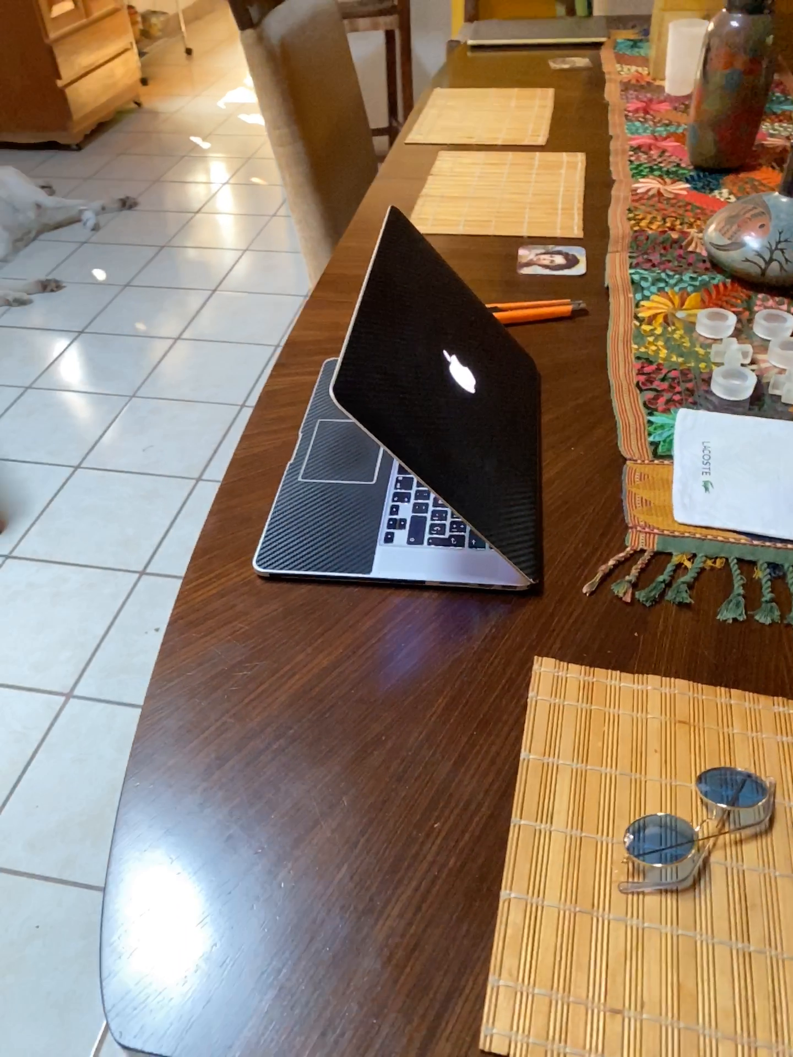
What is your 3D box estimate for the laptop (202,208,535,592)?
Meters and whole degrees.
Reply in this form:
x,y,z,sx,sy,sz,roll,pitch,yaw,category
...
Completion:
x,y,z,sx,sy,sz,roll,pitch,yaw,category
0.002,-0.140,0.756,0.235,0.181,0.356,3,42,6,laptop
